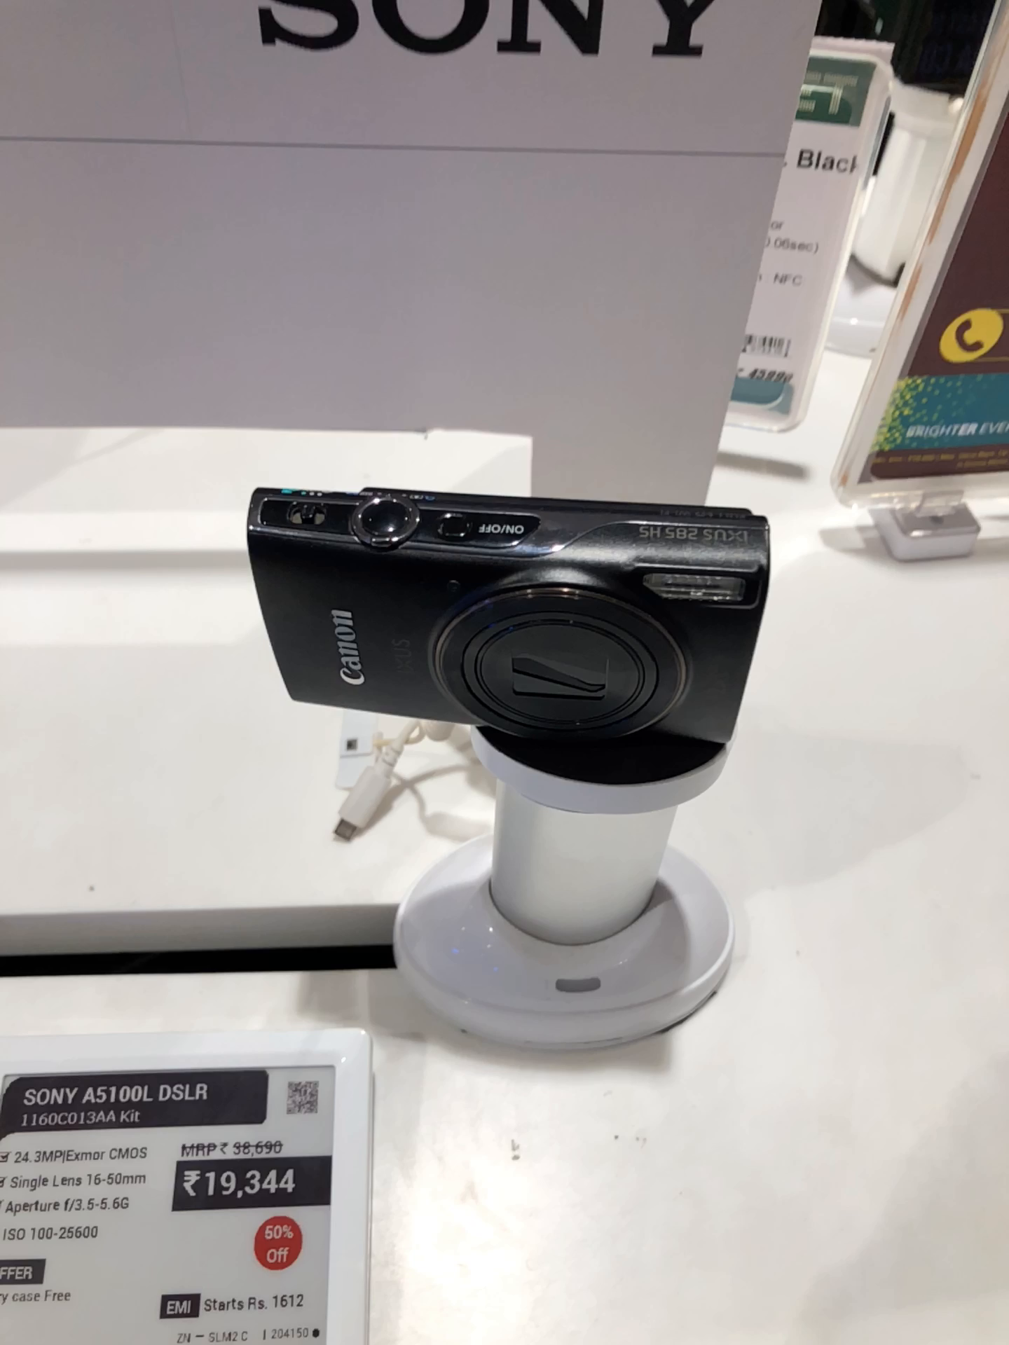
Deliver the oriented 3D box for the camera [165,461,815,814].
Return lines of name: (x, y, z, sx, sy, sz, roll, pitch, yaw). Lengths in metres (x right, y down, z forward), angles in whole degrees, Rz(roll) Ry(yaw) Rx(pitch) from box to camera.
camera: (-0.003, -0.005, 0.222, 0.110, 0.060, 0.030, 4, 52, 1)
